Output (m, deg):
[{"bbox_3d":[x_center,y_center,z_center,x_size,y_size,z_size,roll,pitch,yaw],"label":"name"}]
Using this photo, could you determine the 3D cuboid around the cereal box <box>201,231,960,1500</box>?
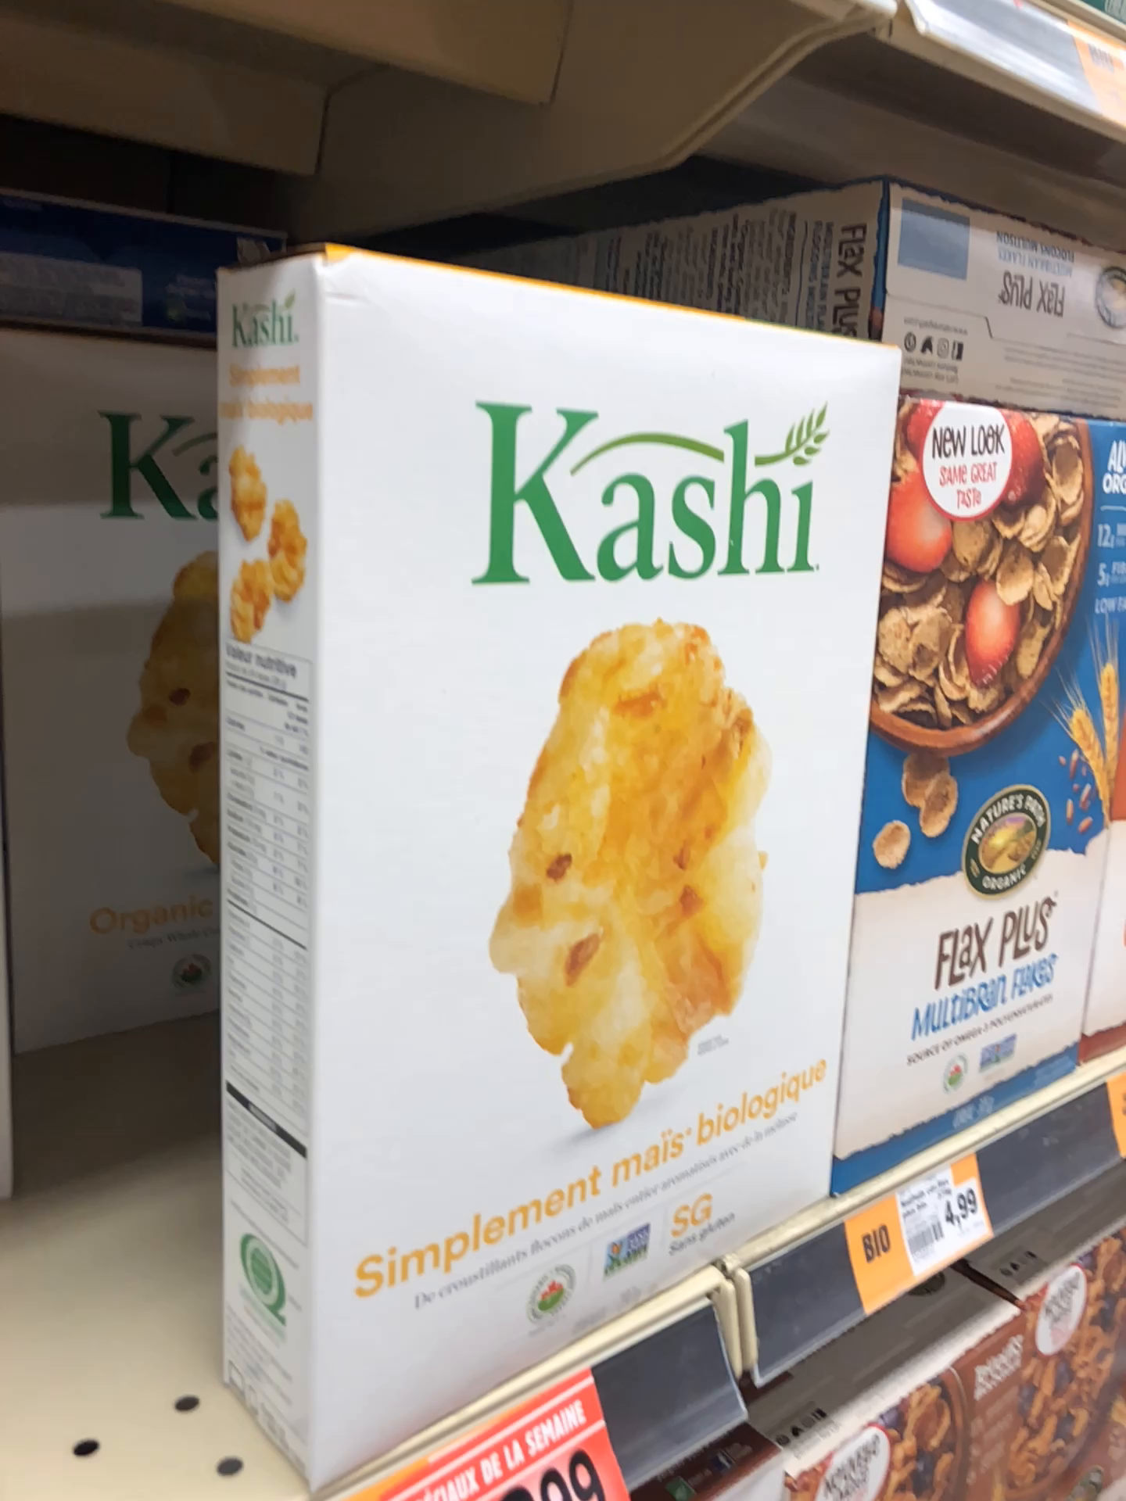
[{"bbox_3d":[0.010,0.022,0.336,0.200,0.269,0.060,-8,17,-41],"label":"cereal box"}]
